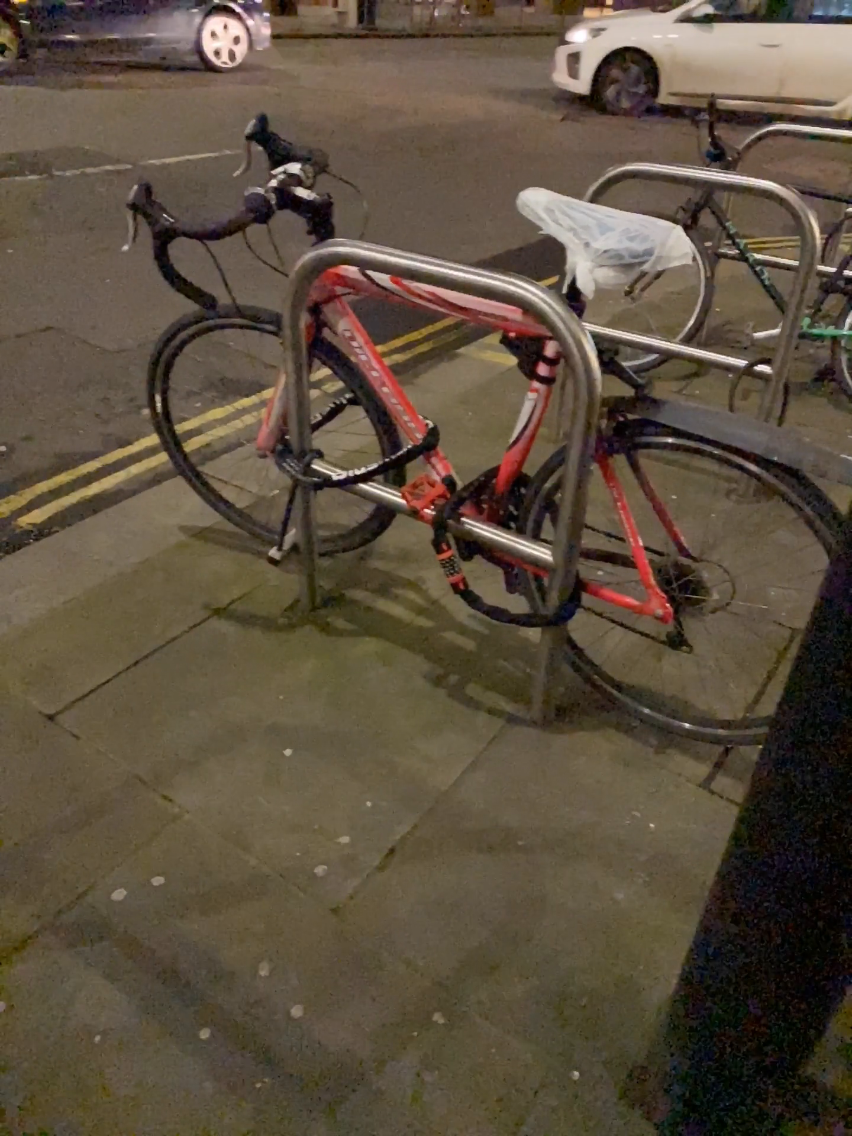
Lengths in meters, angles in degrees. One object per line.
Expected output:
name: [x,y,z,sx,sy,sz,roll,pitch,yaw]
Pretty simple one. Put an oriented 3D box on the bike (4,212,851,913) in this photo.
bike: [-0.009,-0.146,1.767,1.662,0.809,0.539,21,39,27]
